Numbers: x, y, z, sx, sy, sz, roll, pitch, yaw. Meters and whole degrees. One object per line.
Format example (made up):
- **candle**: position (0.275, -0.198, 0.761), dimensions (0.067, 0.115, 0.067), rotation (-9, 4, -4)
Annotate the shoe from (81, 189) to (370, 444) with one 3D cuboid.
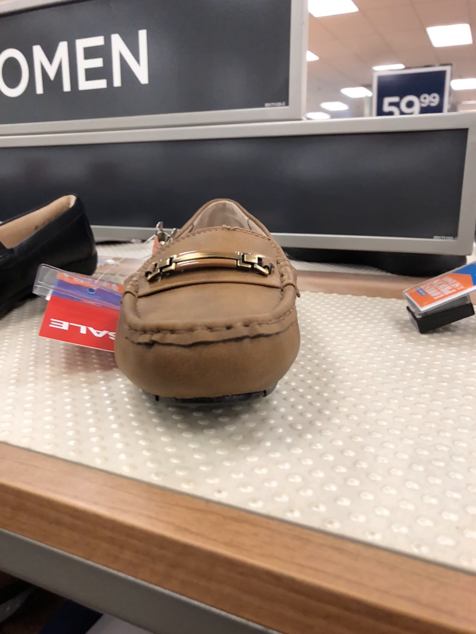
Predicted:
- **shoe**: position (-0.009, -0.026, 0.284), dimensions (0.087, 0.079, 0.236), rotation (-1, 14, -3)
